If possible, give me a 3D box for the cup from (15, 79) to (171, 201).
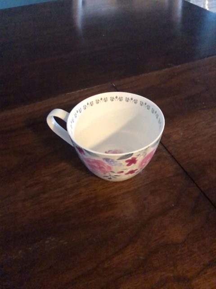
[{"bbox_3d":[-0.010,-0.014,0.319,0.160,0.070,0.120,12,47,14],"label":"cup"}]
